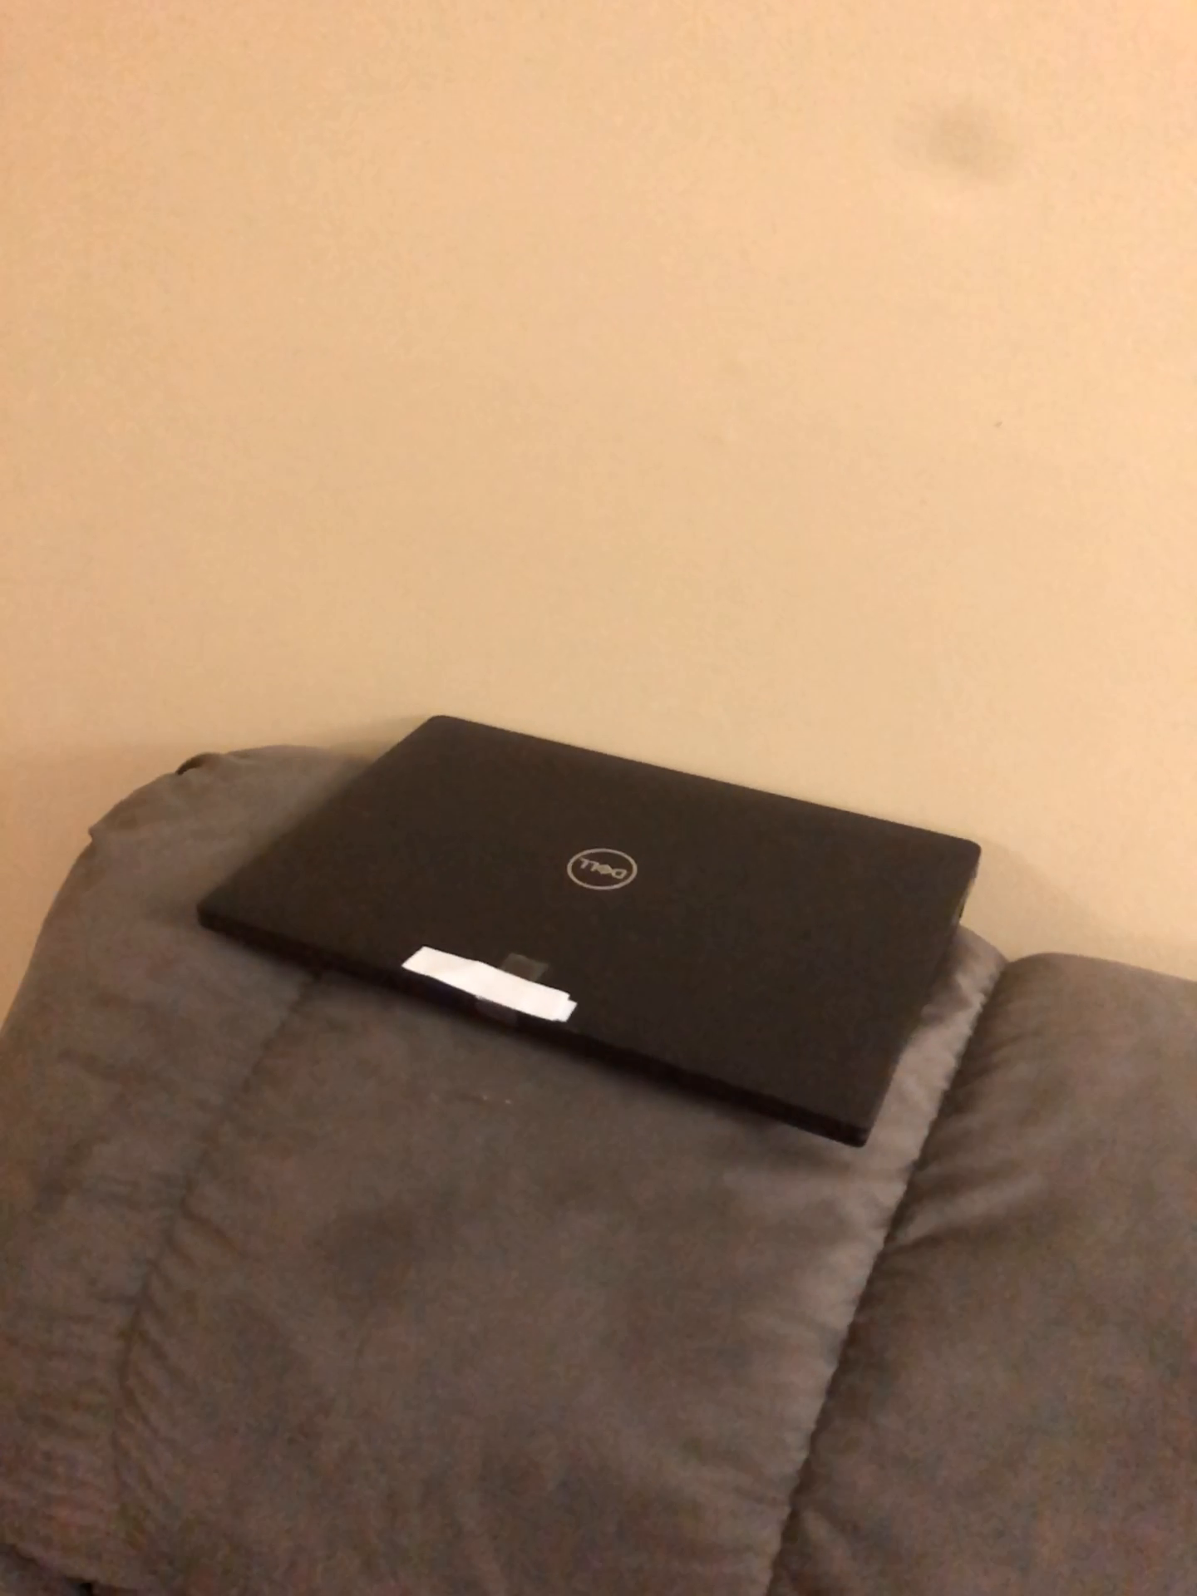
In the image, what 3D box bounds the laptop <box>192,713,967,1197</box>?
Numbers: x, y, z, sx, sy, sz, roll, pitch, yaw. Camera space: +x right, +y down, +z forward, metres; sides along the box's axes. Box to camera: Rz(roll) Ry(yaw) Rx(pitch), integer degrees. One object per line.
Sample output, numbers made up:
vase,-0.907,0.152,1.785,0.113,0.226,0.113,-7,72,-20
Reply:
laptop,-0.005,0.052,0.654,0.326,0.030,0.215,15,34,23
